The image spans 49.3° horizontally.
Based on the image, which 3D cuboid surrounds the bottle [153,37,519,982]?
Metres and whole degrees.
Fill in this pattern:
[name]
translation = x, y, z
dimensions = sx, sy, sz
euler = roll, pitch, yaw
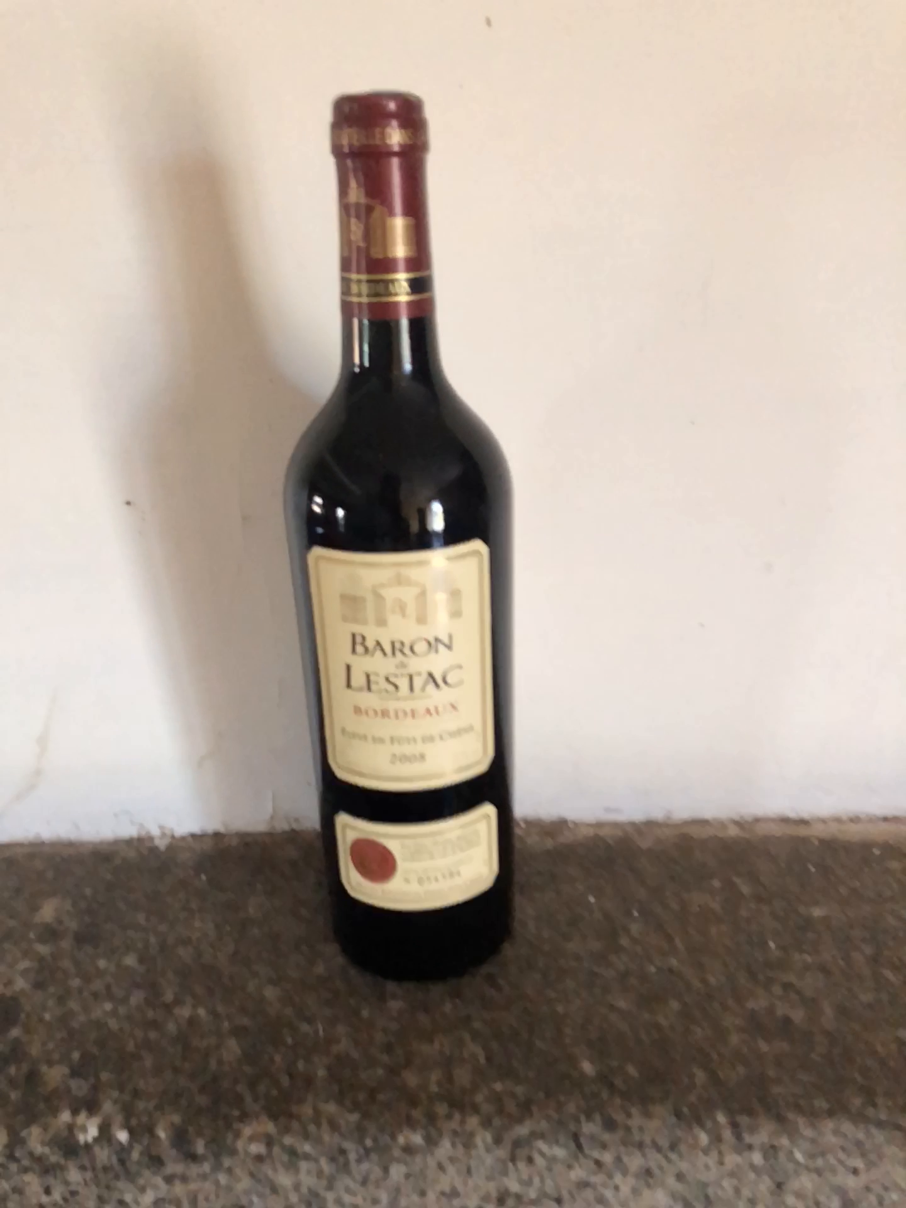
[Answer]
[bottle]
translation = -0.023, -0.015, 0.315
dimensions = 0.080, 0.279, 0.070
euler = -2, 22, 4
